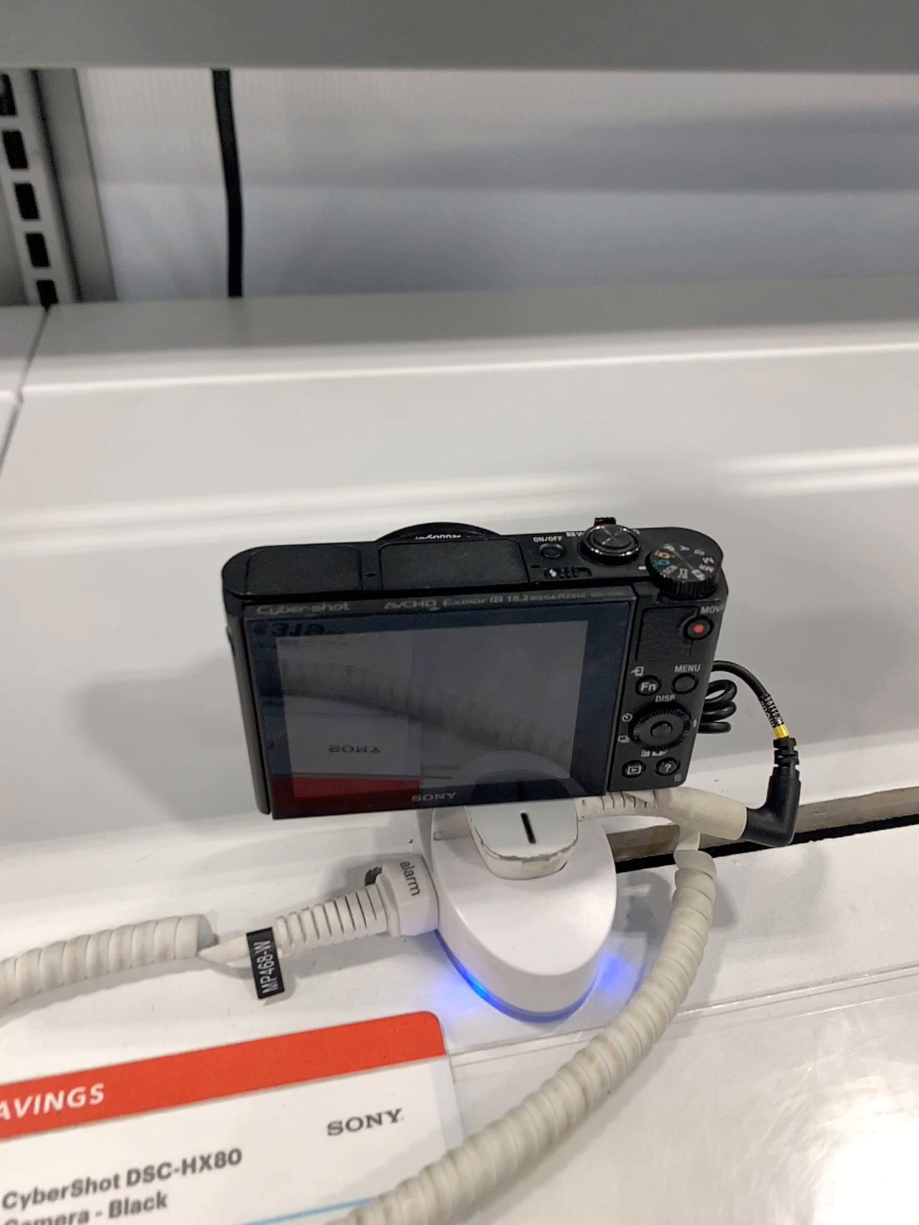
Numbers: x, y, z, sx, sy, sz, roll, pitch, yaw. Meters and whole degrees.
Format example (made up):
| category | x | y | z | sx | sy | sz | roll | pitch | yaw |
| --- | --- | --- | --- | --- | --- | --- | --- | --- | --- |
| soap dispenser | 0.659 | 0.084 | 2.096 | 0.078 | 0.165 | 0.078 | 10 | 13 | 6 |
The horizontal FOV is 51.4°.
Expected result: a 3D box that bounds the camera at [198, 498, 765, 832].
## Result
| category | x | y | z | sx | sy | sz | roll | pitch | yaw |
| --- | --- | --- | --- | --- | --- | --- | --- | --- | --- |
| camera | 0.002 | 0.010 | 0.204 | 0.104 | 0.052 | 0.040 | -3 | 37 | -8 |
